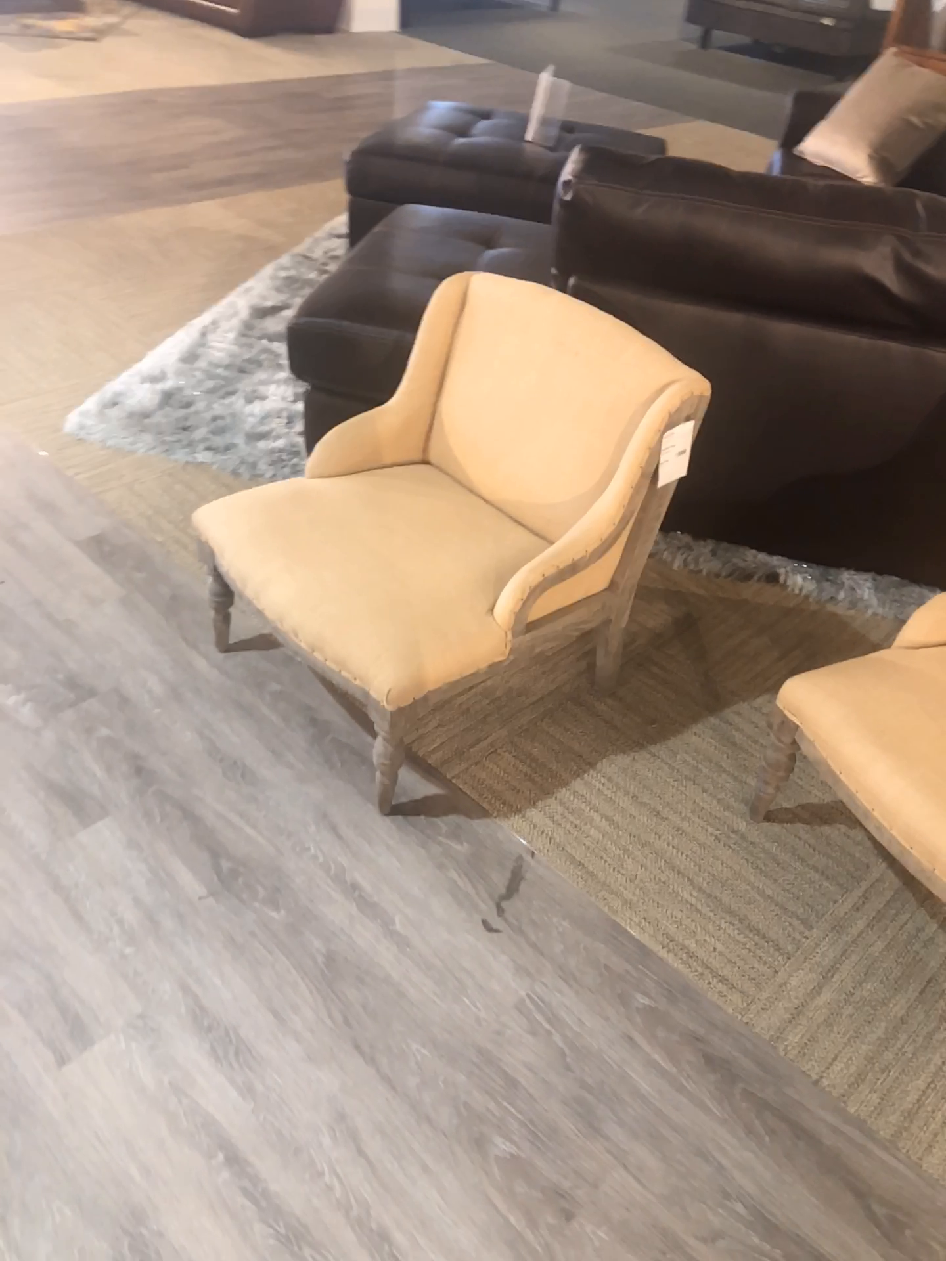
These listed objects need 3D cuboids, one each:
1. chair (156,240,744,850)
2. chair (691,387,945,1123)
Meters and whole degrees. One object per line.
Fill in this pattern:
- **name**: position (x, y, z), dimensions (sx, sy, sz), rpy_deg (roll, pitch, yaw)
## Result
- **chair**: position (-0.061, -0.198, 1.829), dimensions (0.671, 0.685, 0.638), rpy_deg (-26, 48, -34)
- **chair**: position (0.856, 0.118, 1.495), dimensions (0.720, 0.625, 0.629), rpy_deg (-15, 42, -25)
